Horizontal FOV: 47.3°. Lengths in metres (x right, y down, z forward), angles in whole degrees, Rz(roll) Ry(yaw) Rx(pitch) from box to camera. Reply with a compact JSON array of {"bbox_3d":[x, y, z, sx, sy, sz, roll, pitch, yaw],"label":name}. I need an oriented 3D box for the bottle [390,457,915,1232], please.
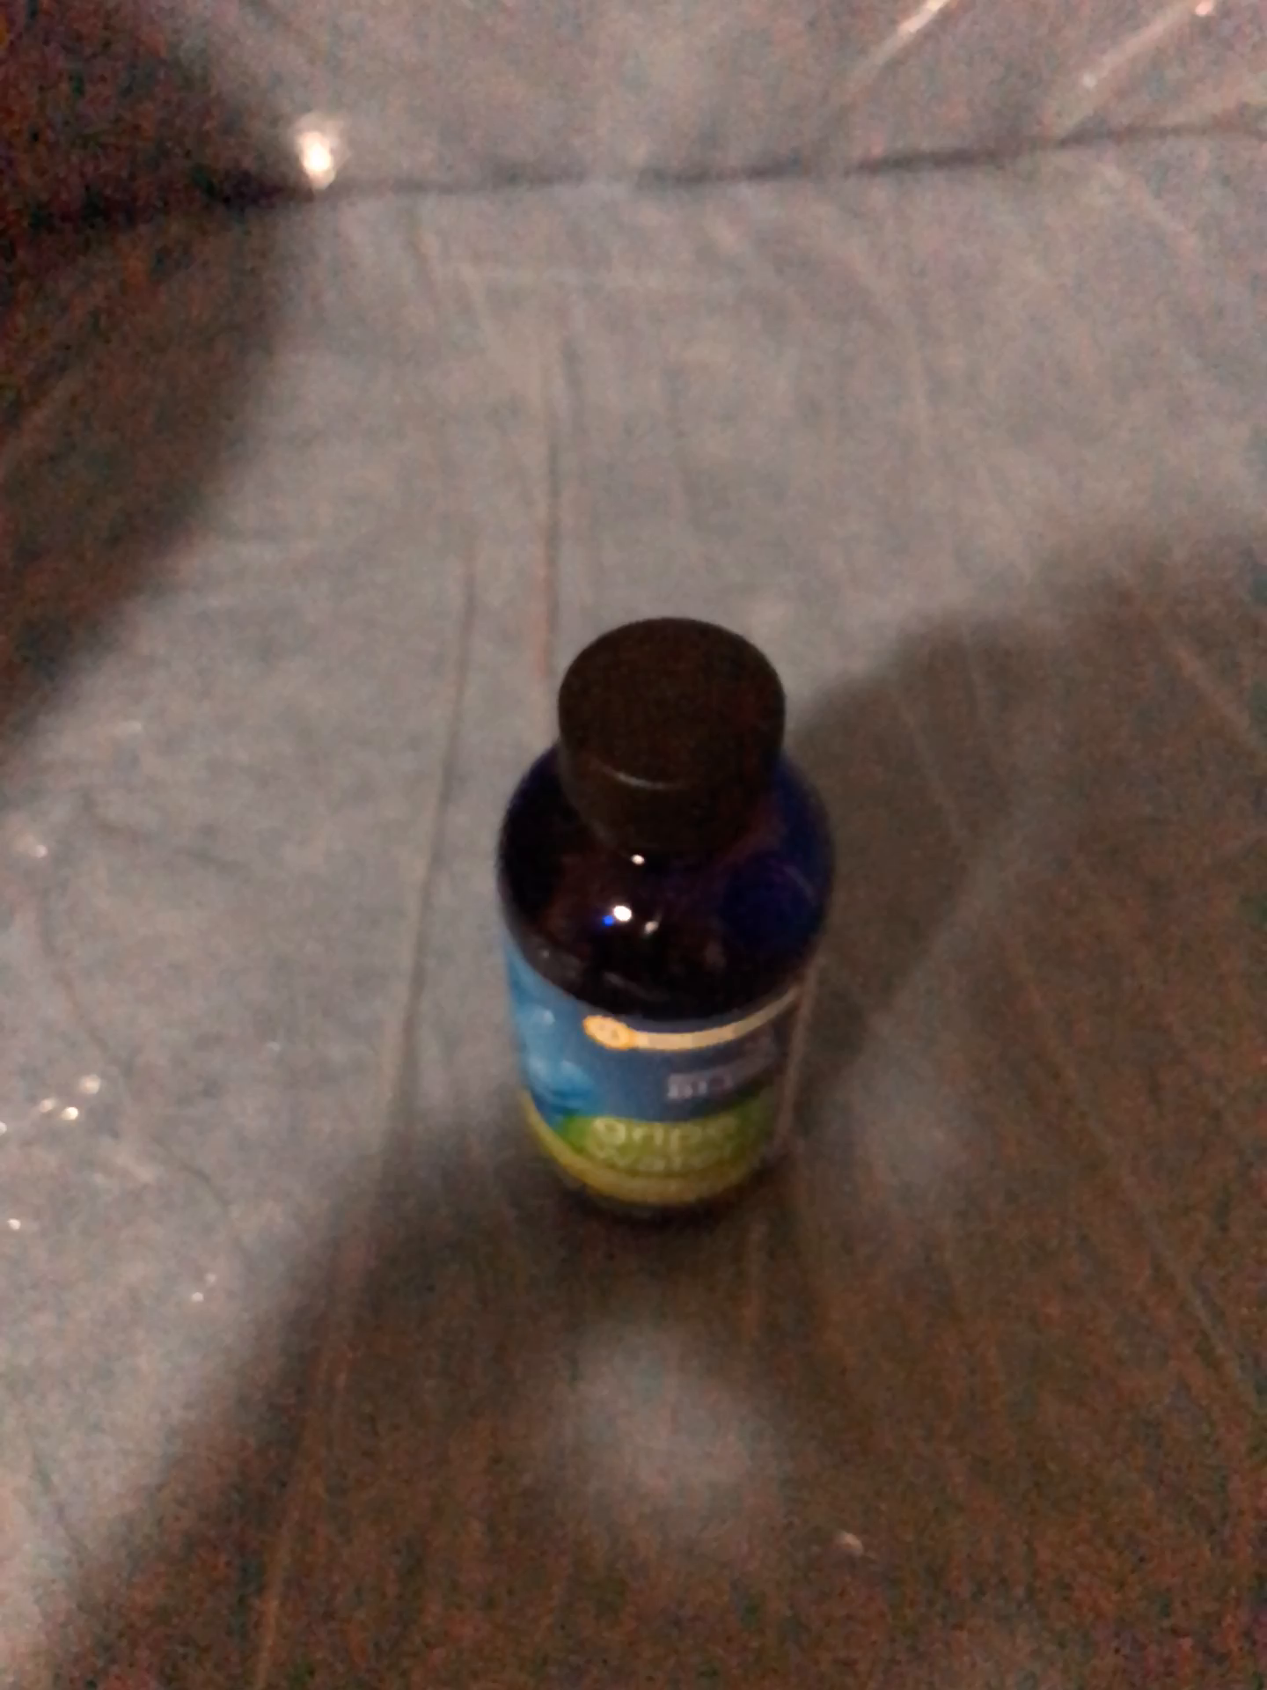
[{"bbox_3d":[0.004,0.009,0.214,0.050,0.120,0.050,0,57,0],"label":"bottle"}]
